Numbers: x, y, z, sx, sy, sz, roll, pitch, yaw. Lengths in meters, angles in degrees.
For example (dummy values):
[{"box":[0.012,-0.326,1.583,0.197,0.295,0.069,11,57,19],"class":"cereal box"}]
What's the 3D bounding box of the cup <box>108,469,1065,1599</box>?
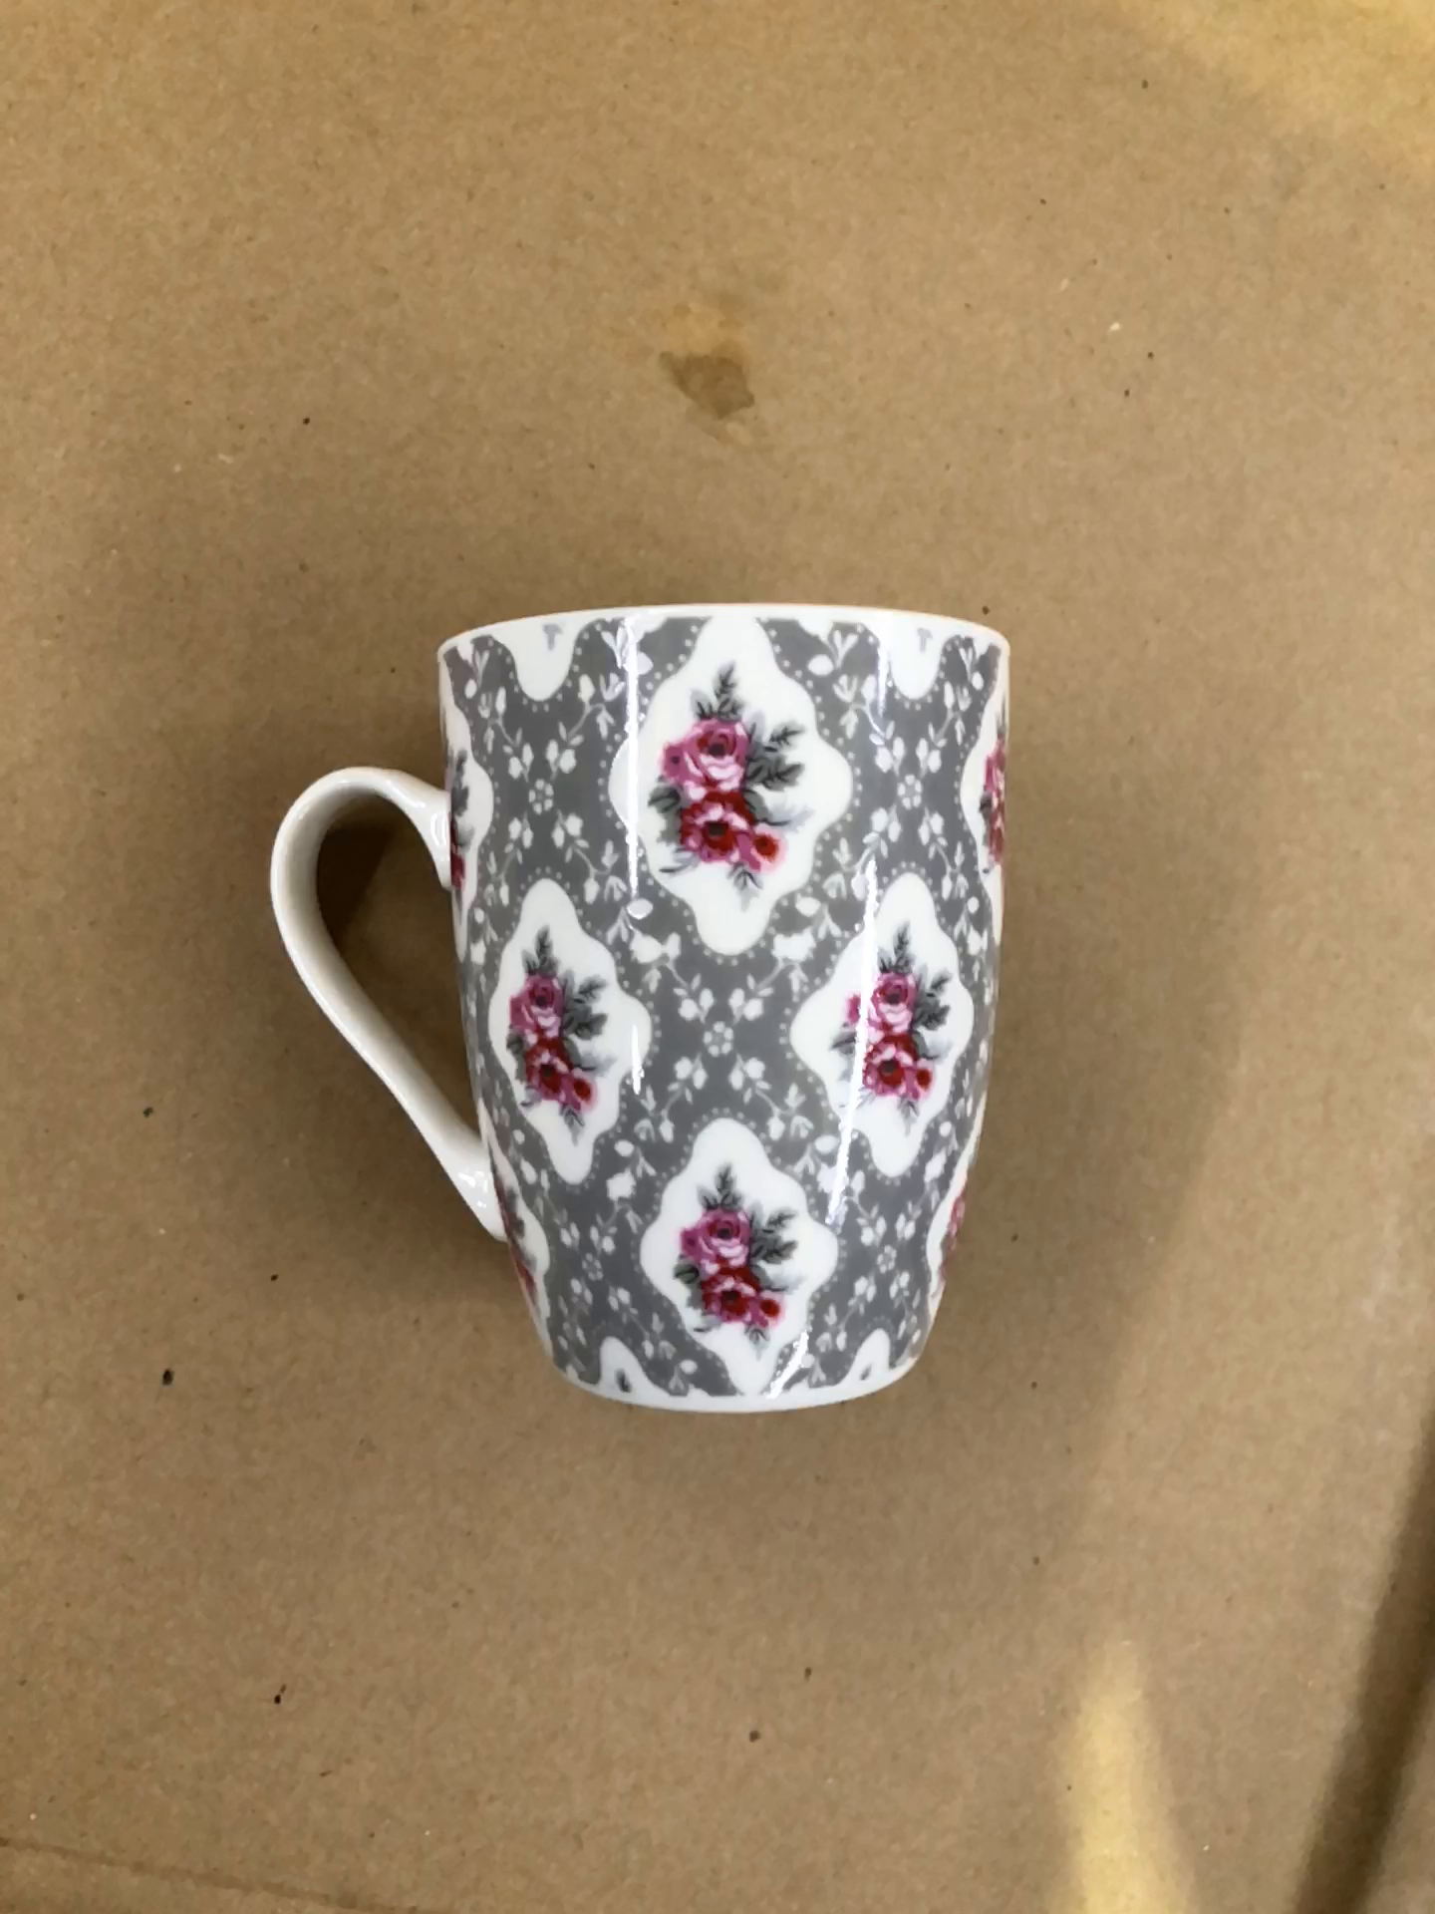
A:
[{"box":[-0.009,0.008,0.208,0.100,0.080,0.110,-1,91,16],"class":"cup"}]
